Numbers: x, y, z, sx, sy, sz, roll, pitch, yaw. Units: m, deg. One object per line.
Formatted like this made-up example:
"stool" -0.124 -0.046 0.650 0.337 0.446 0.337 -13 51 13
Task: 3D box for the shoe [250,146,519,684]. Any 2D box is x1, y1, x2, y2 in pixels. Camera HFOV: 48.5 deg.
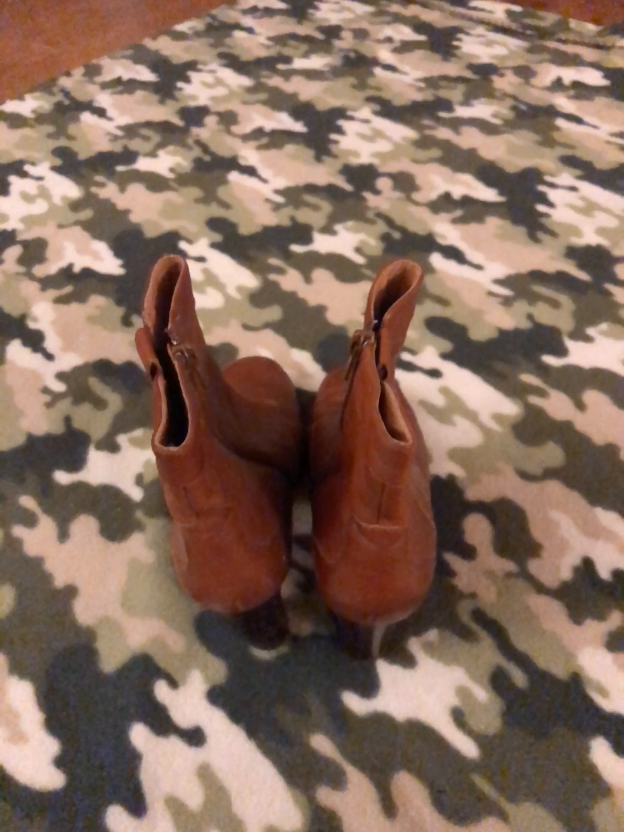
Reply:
"shoe" 0.033 -0.002 0.377 0.090 0.189 0.221 0 48 4

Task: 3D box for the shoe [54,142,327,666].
"shoe" -0.043 -0.008 0.389 0.090 0.189 0.221 -3 48 2
